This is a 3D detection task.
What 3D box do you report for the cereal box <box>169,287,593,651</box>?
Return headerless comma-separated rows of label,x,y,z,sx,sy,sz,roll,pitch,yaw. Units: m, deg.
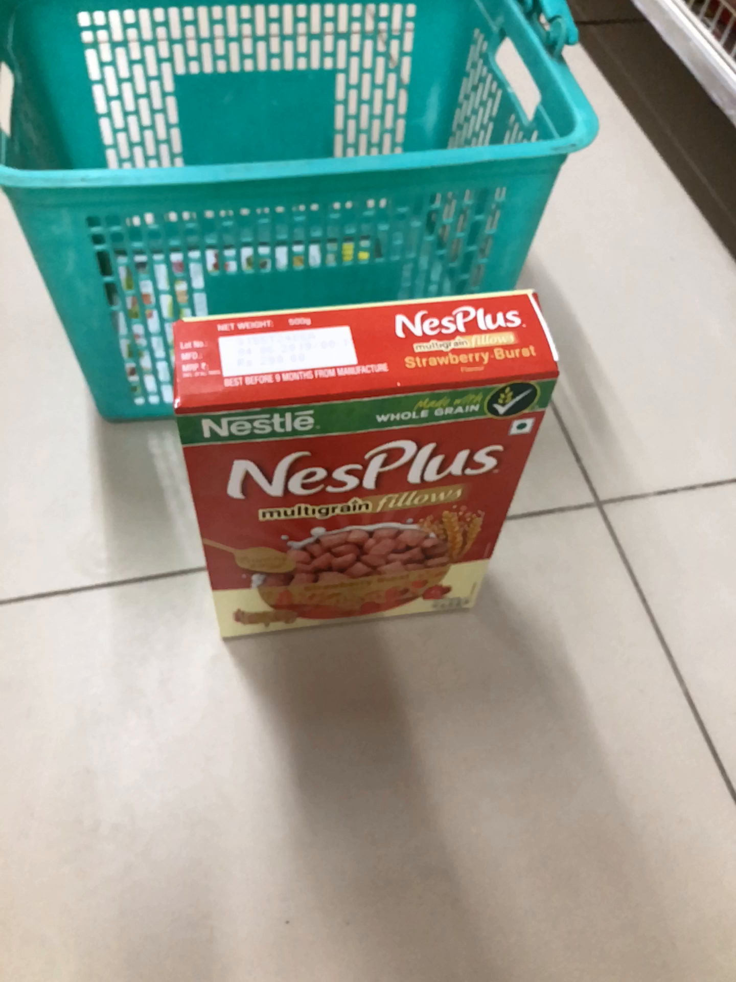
cereal box,-0.004,0.004,0.486,0.190,0.259,0.060,-5,56,-9
